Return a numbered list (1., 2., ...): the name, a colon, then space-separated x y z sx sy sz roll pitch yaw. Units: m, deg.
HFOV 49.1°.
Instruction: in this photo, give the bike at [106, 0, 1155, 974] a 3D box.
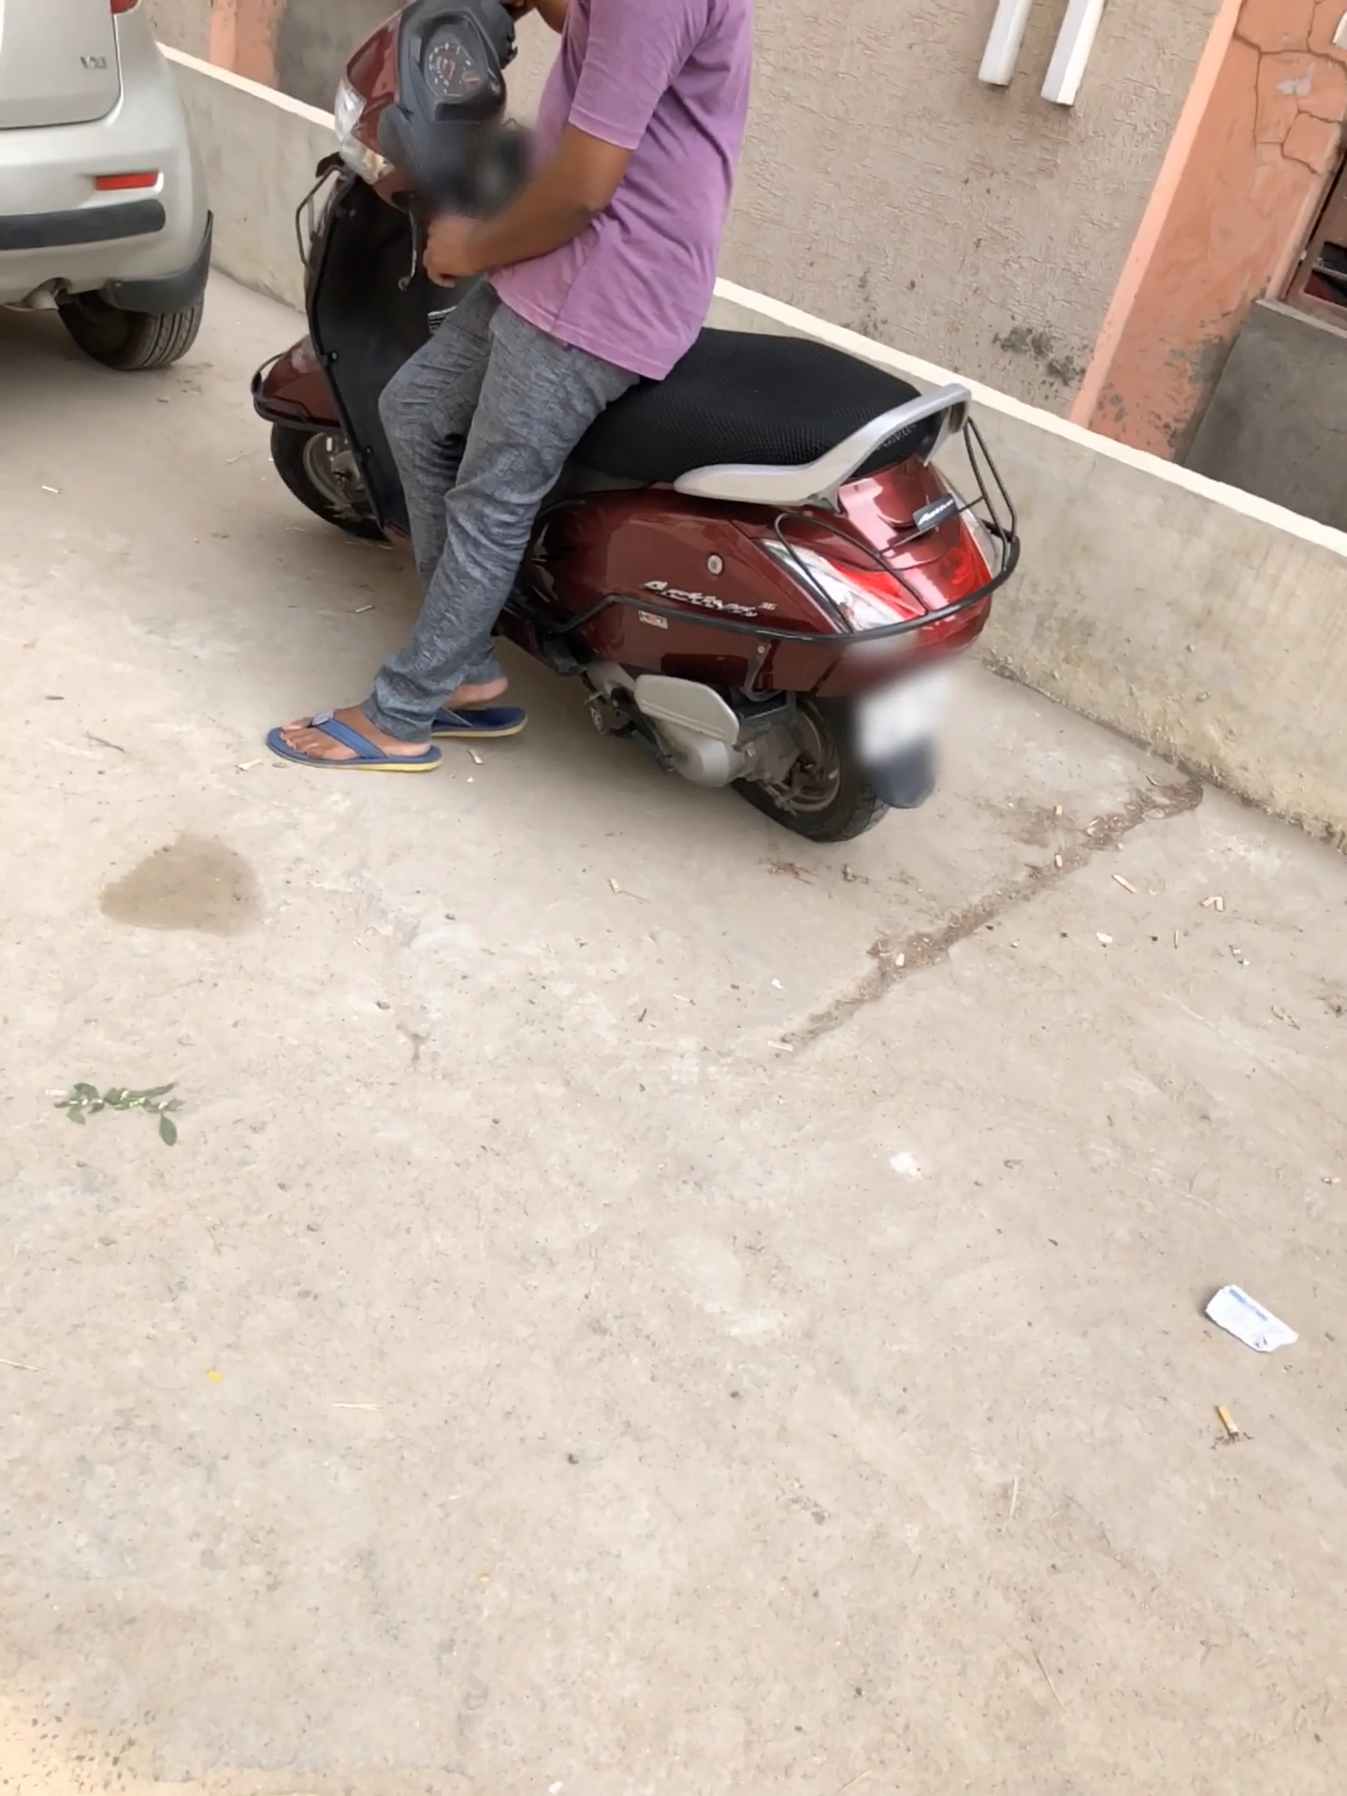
1. bike: -0.233 -0.808 2.445 1.578 1.072 0.633 34 38 29
